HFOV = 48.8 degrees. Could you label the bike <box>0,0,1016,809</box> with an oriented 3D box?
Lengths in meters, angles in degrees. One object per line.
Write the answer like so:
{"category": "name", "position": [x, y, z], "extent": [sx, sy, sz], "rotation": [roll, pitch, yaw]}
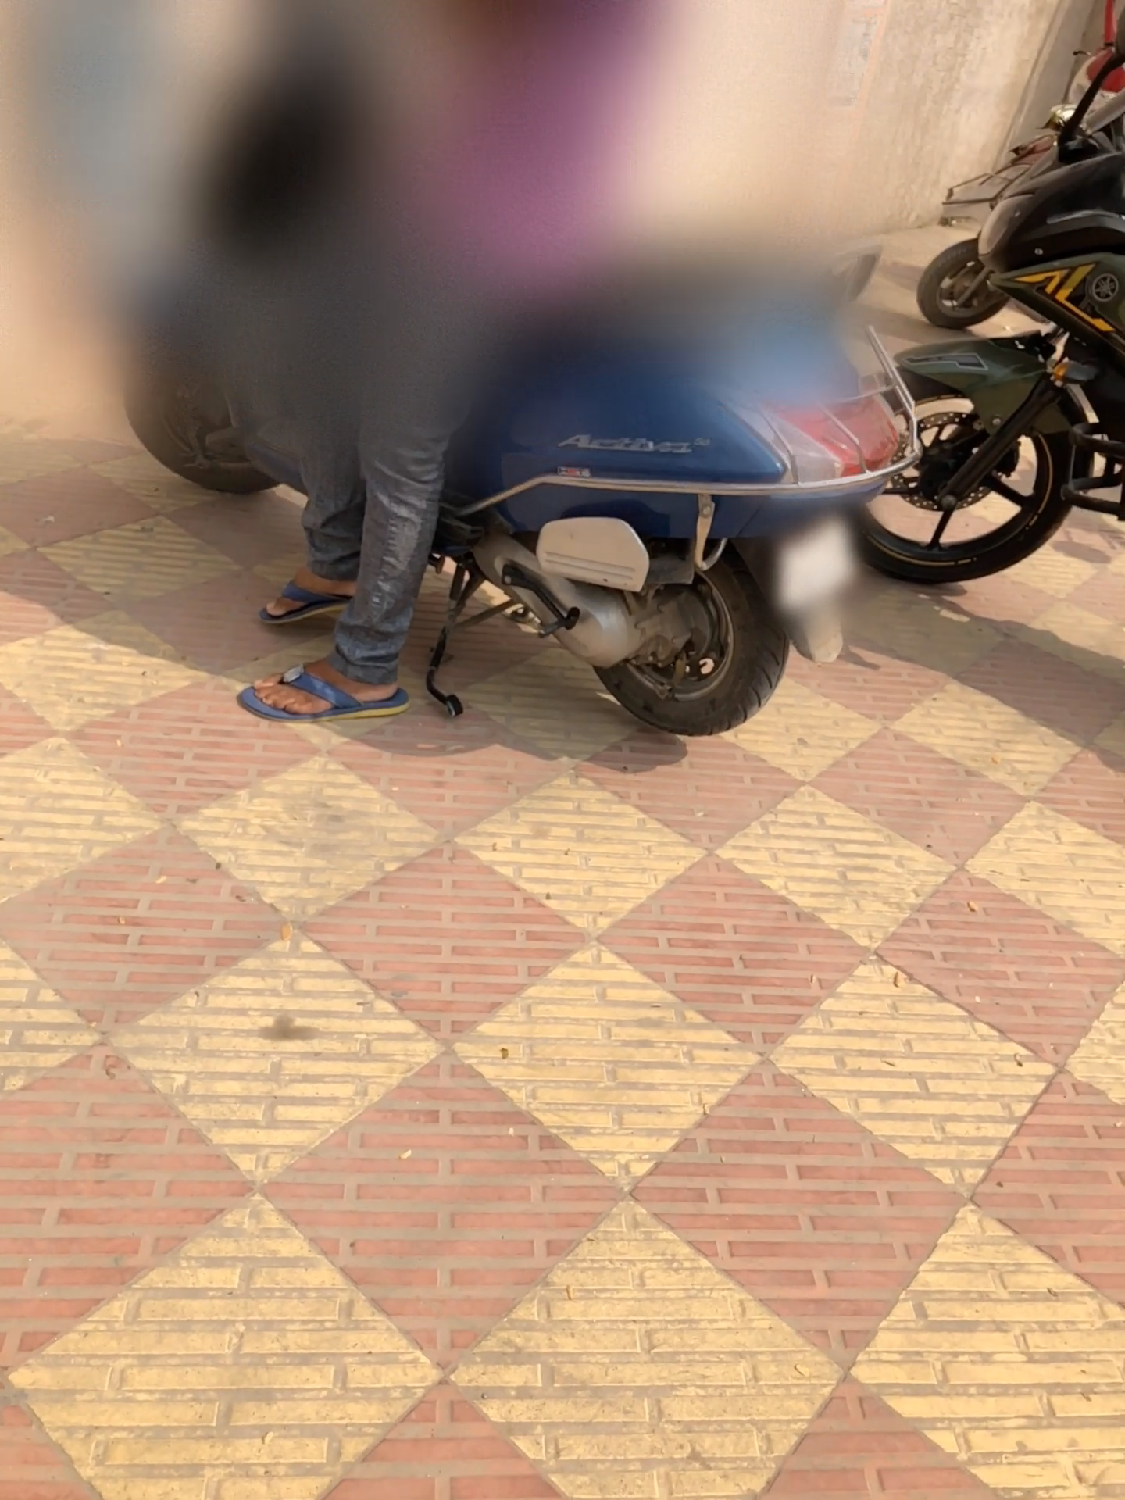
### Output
{"category": "bike", "position": [-0.243, -0.798, 2.305], "extent": [1.700, 1.037, 0.626], "rotation": [26, 38, 25]}
